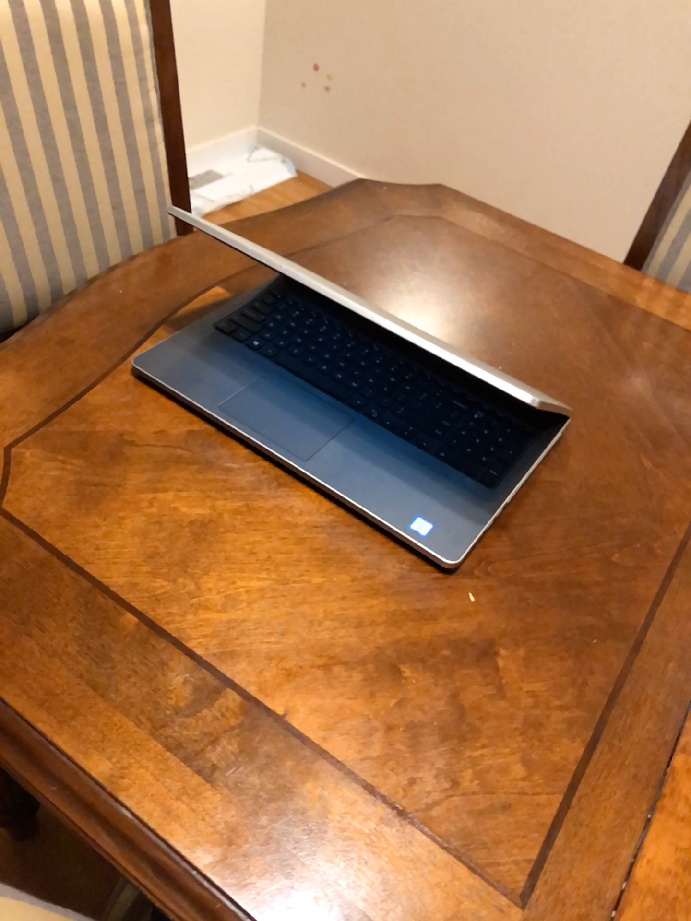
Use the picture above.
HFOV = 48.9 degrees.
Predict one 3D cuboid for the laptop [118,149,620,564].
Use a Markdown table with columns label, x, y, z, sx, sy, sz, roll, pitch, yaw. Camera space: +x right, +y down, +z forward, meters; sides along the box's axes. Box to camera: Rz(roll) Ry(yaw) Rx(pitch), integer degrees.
| label | x | y | z | sx | sy | sz | roll | pitch | yaw |
| --- | --- | --- | --- | --- | --- | --- | --- | --- | --- |
| laptop | 0.015 | -0.120 | 0.704 | 0.364 | 0.147 | 0.246 | 31 | 47 | 19 |
